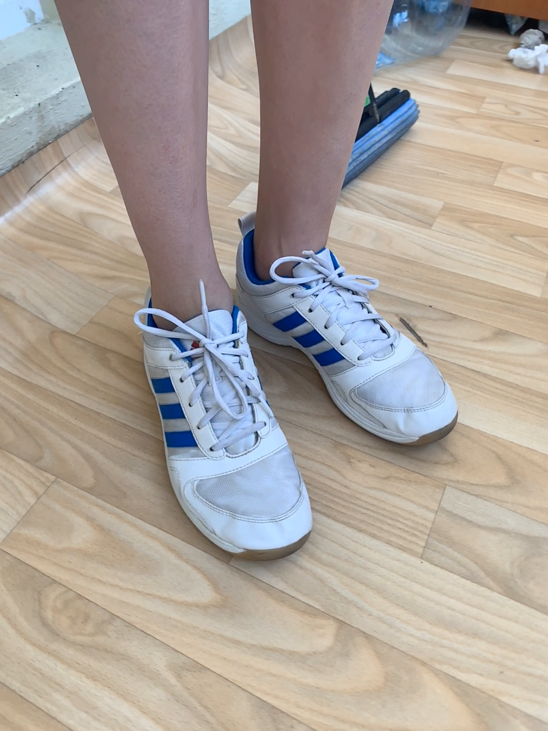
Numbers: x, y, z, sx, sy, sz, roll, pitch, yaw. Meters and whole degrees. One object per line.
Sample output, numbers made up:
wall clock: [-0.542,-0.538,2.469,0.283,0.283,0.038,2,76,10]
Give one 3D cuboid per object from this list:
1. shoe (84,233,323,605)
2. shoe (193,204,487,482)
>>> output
shoe: [-0.065,0.026,0.449,0.100,0.120,0.261,-16,49,-14]
shoe: [0.044,-0.035,0.513,0.100,0.090,0.261,-30,54,-24]
